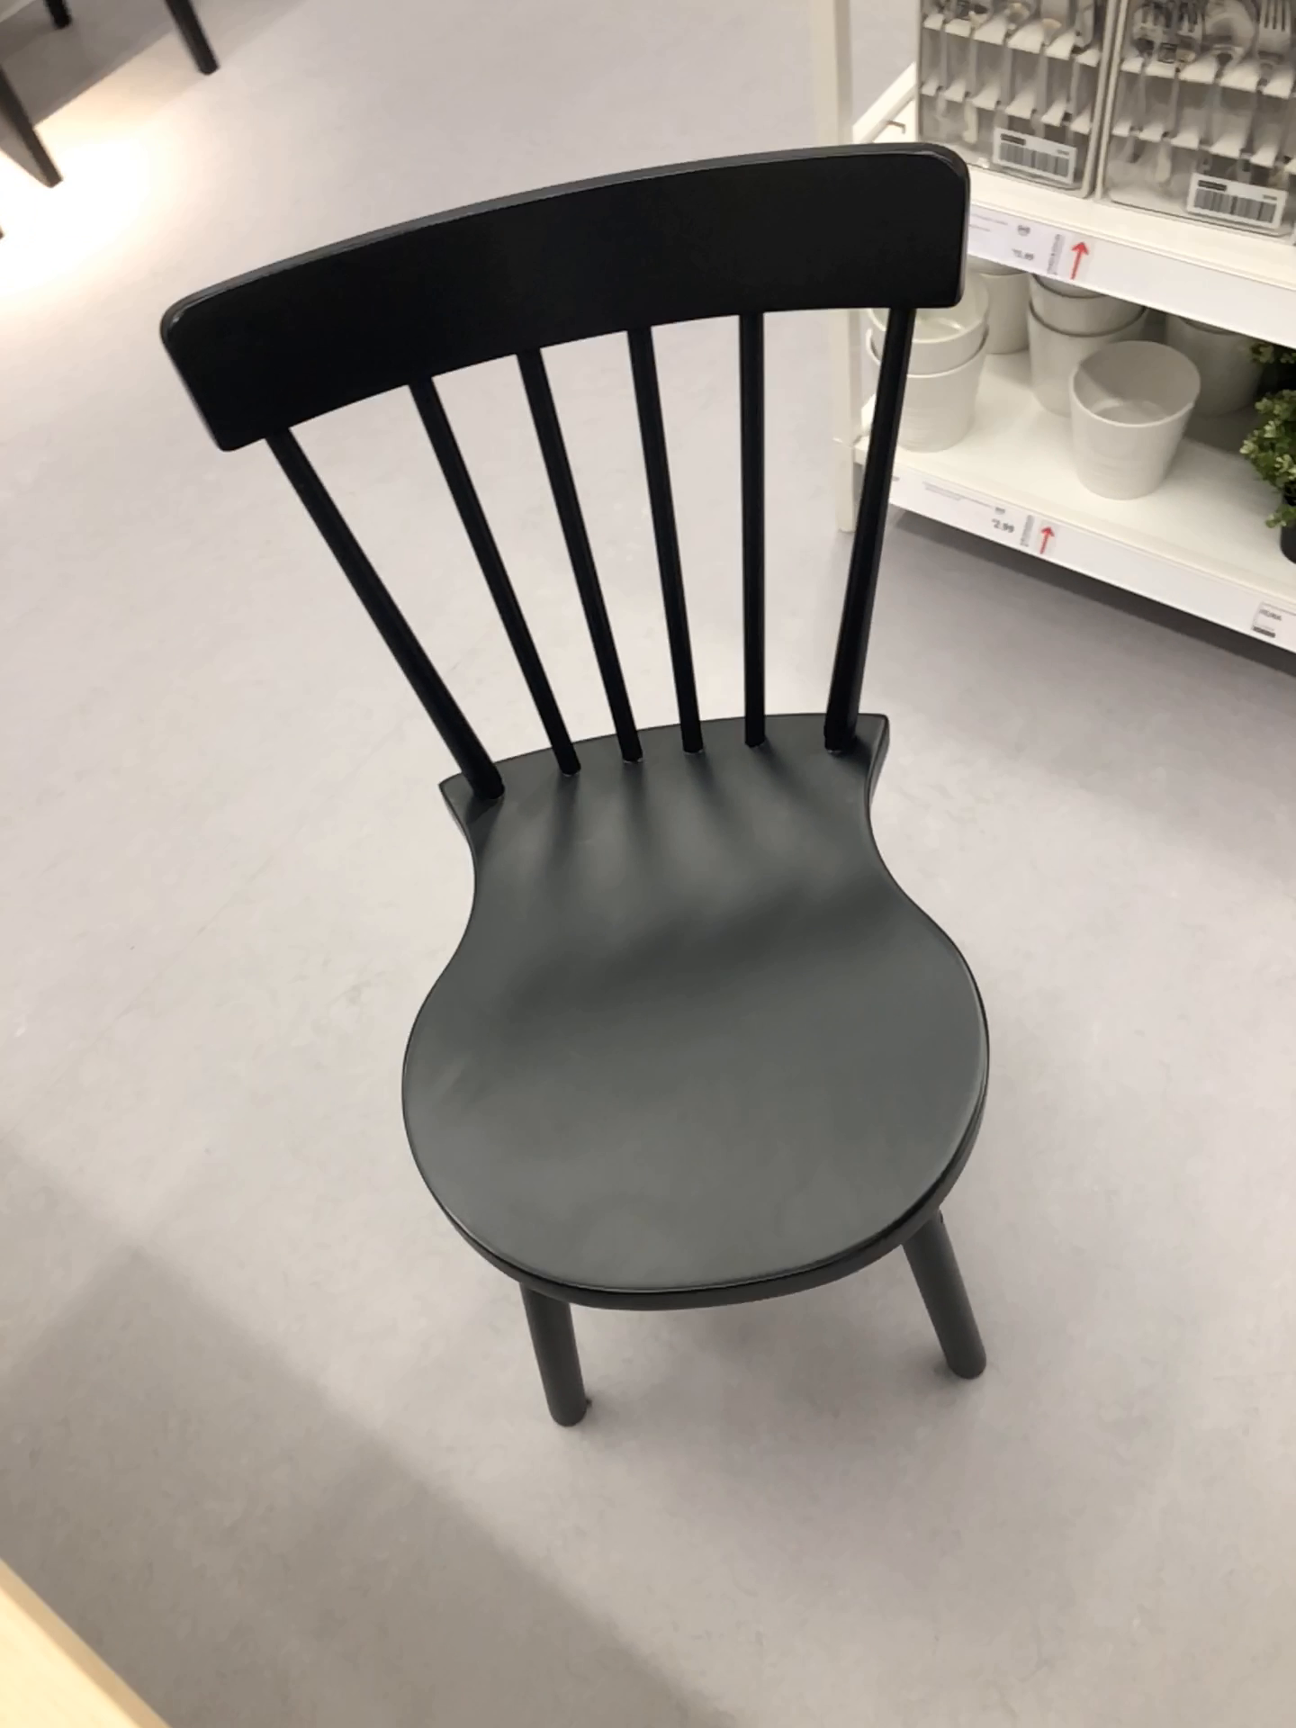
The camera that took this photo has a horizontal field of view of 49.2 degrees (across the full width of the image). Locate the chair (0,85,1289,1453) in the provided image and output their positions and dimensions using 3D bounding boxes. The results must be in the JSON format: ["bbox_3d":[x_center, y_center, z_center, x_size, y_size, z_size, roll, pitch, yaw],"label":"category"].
[{"bbox_3d":[0.011,0.023,0.938,0.480,0.716,0.523,-8,57,5],"label":"chair"}]
